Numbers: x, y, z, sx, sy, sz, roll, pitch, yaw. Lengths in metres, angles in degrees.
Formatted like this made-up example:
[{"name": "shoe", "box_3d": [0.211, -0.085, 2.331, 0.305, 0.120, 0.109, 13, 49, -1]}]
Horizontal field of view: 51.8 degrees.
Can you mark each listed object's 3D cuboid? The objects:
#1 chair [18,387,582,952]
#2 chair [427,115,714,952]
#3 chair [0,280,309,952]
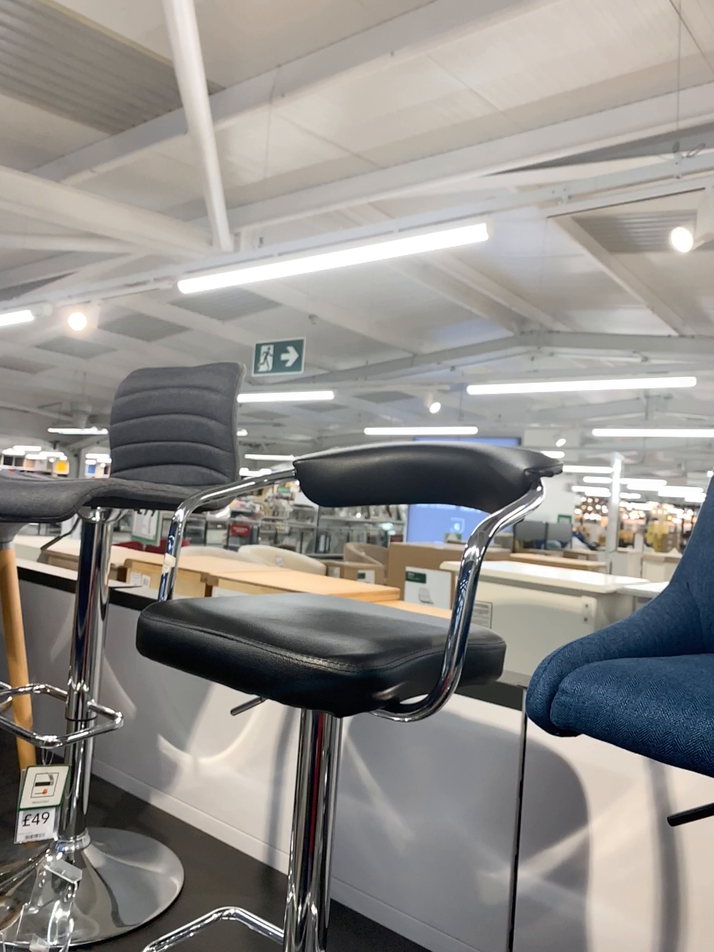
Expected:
[{"name": "chair", "box_3d": [-0.051, 0.349, 1.001, 0.511, 0.855, 0.466, 3, -4, 35]}, {"name": "chair", "box_3d": [0.465, 0.338, 0.646, 0.521, 0.955, 0.535, 2, -4, 40]}, {"name": "chair", "box_3d": [-0.486, 0.234, 1.440, 0.511, 1.065, 0.465, 2, -4, 35]}]
